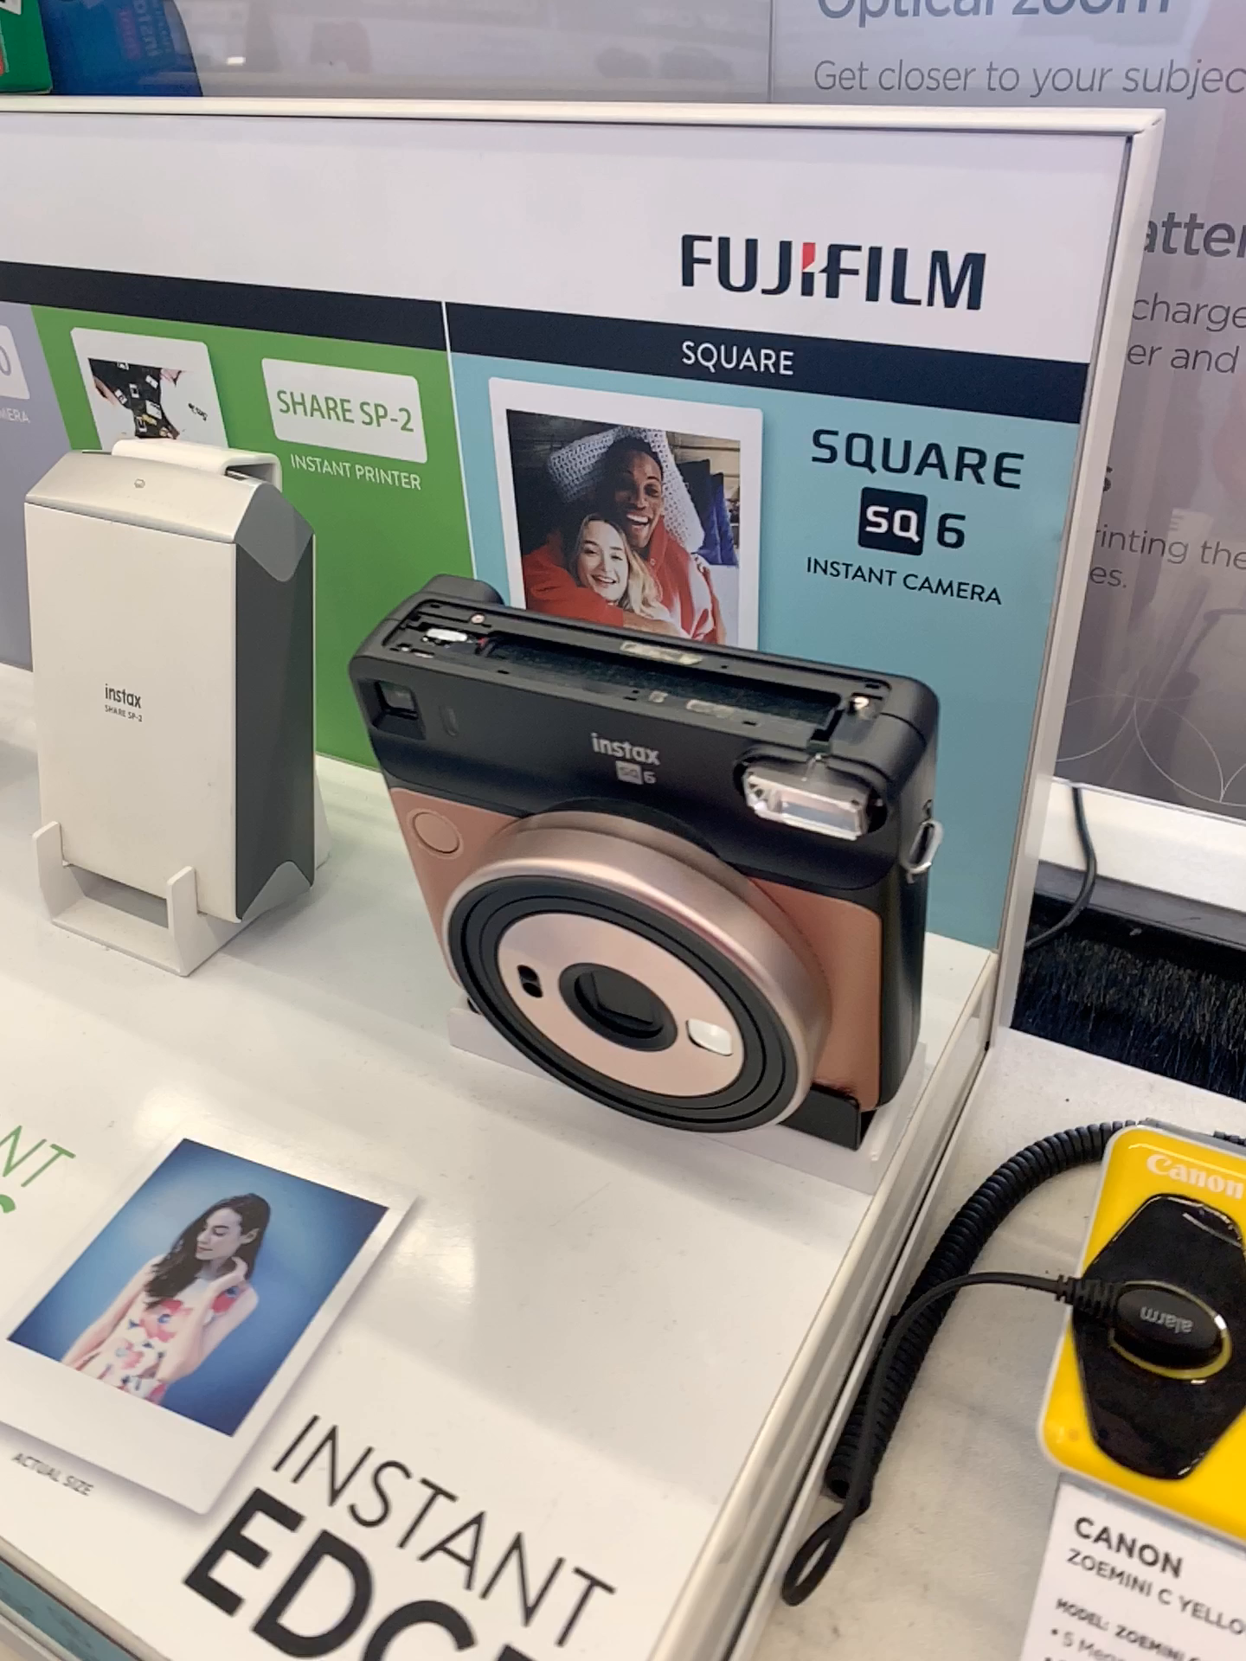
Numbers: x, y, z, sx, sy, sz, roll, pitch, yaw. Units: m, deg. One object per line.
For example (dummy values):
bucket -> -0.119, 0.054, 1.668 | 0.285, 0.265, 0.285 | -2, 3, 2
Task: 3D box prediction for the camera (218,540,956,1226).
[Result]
camera -> -0.002, 0.011, 0.287 | 0.130, 0.119, 0.061 | 14, 48, 22
